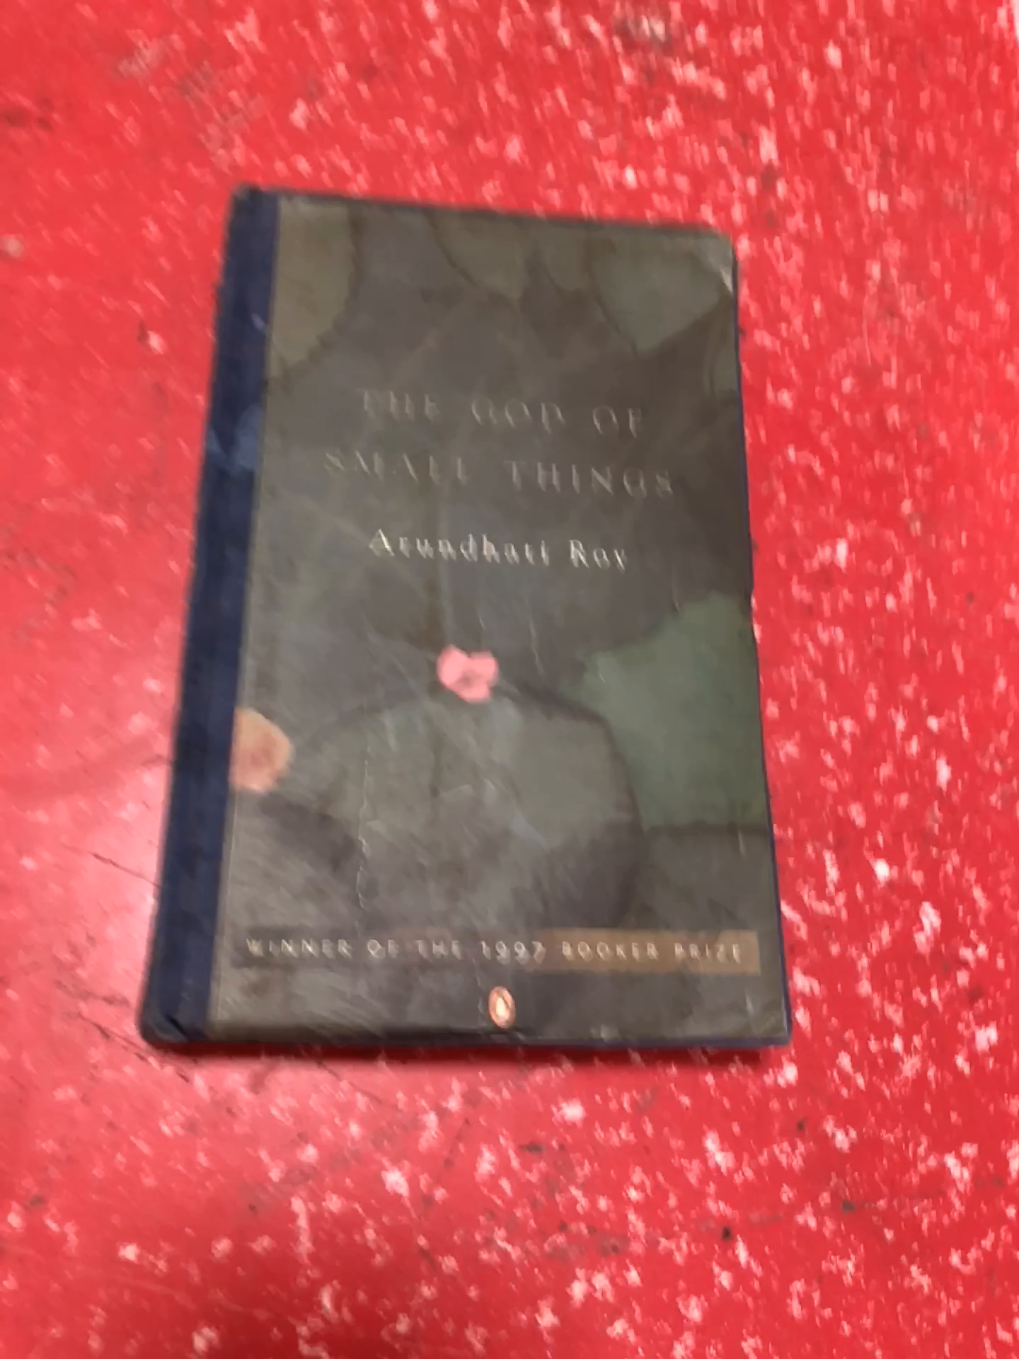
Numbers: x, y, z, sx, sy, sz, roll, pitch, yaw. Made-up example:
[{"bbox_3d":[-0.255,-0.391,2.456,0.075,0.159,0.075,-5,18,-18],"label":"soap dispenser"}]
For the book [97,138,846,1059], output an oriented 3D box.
[{"bbox_3d":[-0.005,-0.024,0.282,0.150,0.040,0.220,3,71,-5],"label":"book"}]
